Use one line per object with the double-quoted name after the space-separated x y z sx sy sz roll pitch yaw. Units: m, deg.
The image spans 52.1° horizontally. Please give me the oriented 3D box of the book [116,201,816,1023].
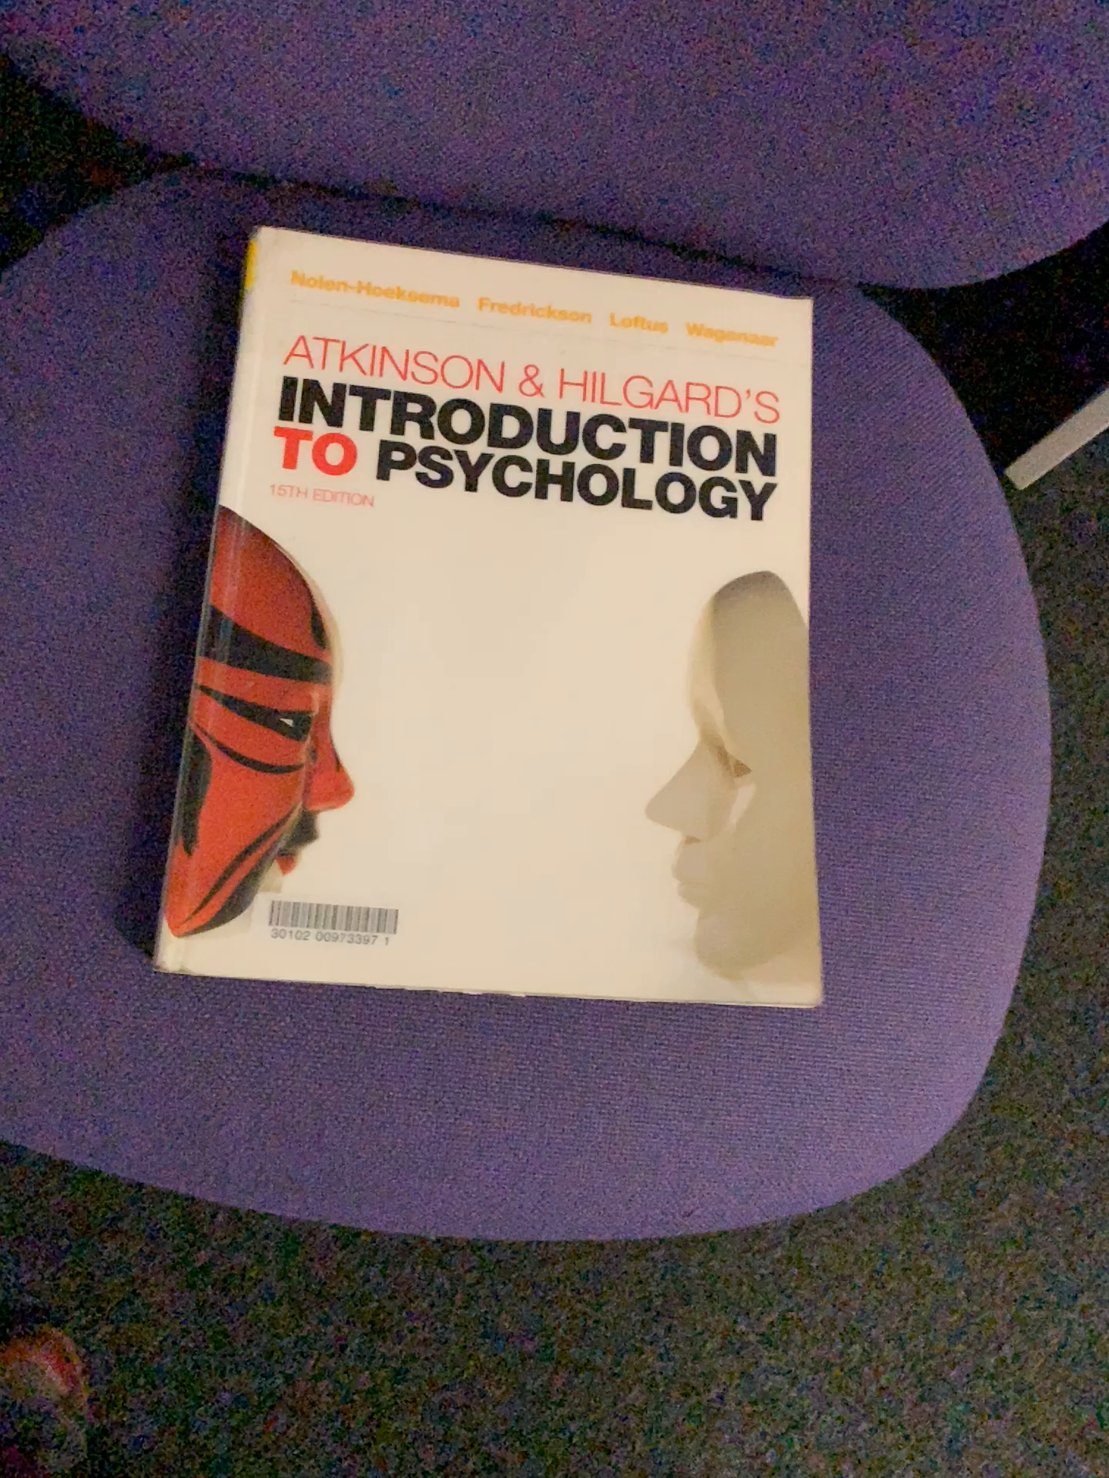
-0.019 -0.048 0.412 0.222 0.035 0.283 5 75 -7 "book"
